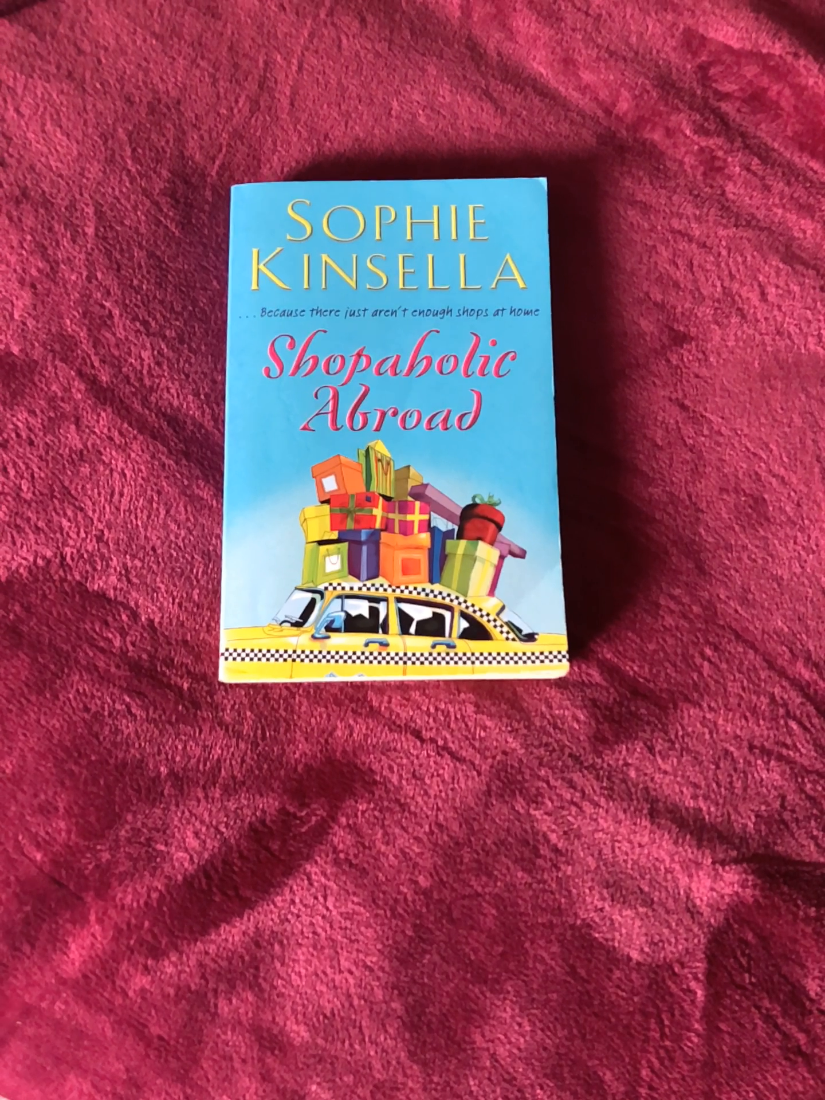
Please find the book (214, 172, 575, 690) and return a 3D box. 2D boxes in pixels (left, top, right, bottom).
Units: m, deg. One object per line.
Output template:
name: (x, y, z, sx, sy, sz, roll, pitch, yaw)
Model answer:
book: (-0.008, -0.047, 0.359, 0.129, 0.035, 0.200, -1, 80, 0)
